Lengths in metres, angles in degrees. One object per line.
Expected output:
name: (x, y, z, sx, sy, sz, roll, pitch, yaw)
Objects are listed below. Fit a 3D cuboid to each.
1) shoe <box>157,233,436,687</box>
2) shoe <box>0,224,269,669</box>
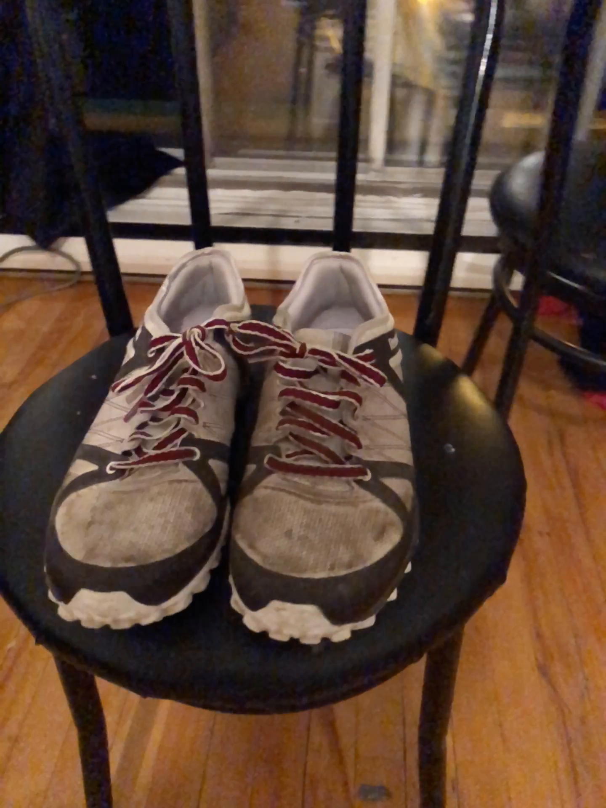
shoe: (0.008, 0.006, 0.439, 0.120, 0.099, 0.313, 3, 40, 3)
shoe: (-0.091, -0.002, 0.440, 0.100, 0.099, 0.313, 3, 40, 3)
